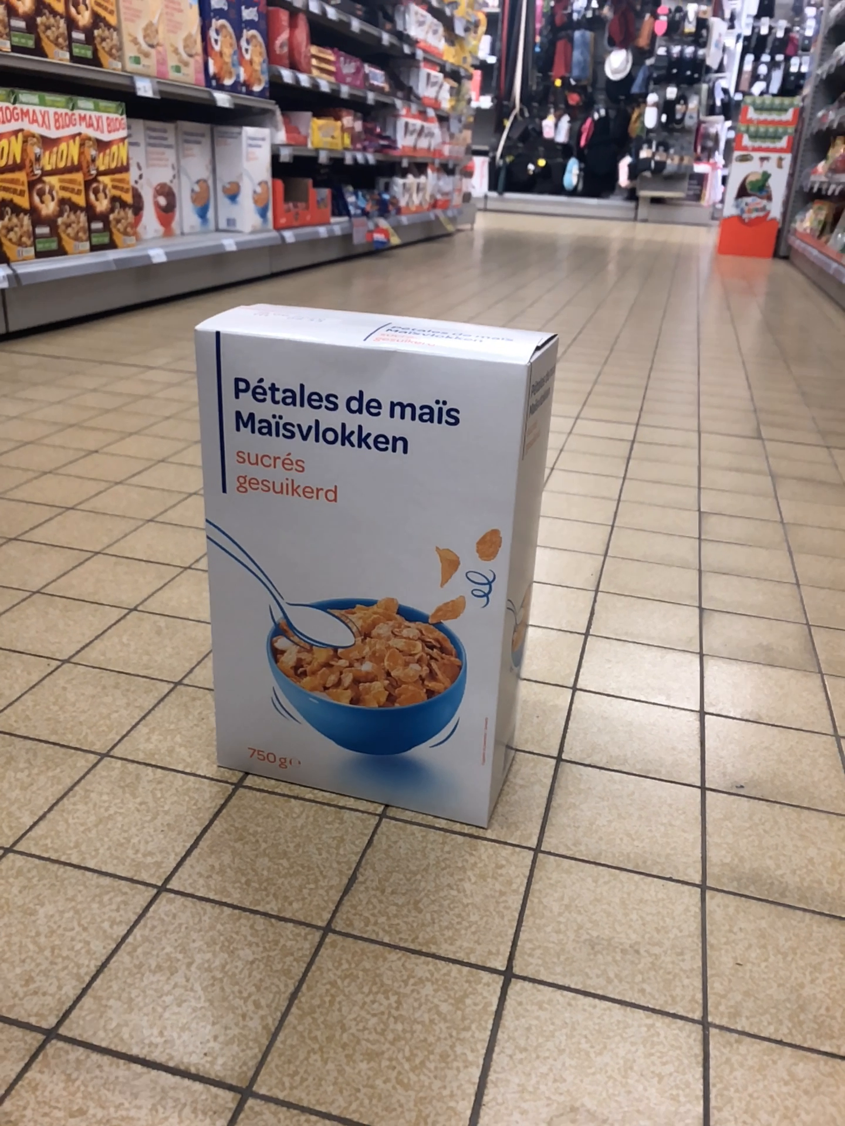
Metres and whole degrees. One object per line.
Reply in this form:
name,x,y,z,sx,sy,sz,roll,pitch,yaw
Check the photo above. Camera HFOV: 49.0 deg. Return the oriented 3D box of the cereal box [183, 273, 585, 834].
cereal box,-0.025,-0.012,0.576,0.200,0.298,0.111,10,23,15
